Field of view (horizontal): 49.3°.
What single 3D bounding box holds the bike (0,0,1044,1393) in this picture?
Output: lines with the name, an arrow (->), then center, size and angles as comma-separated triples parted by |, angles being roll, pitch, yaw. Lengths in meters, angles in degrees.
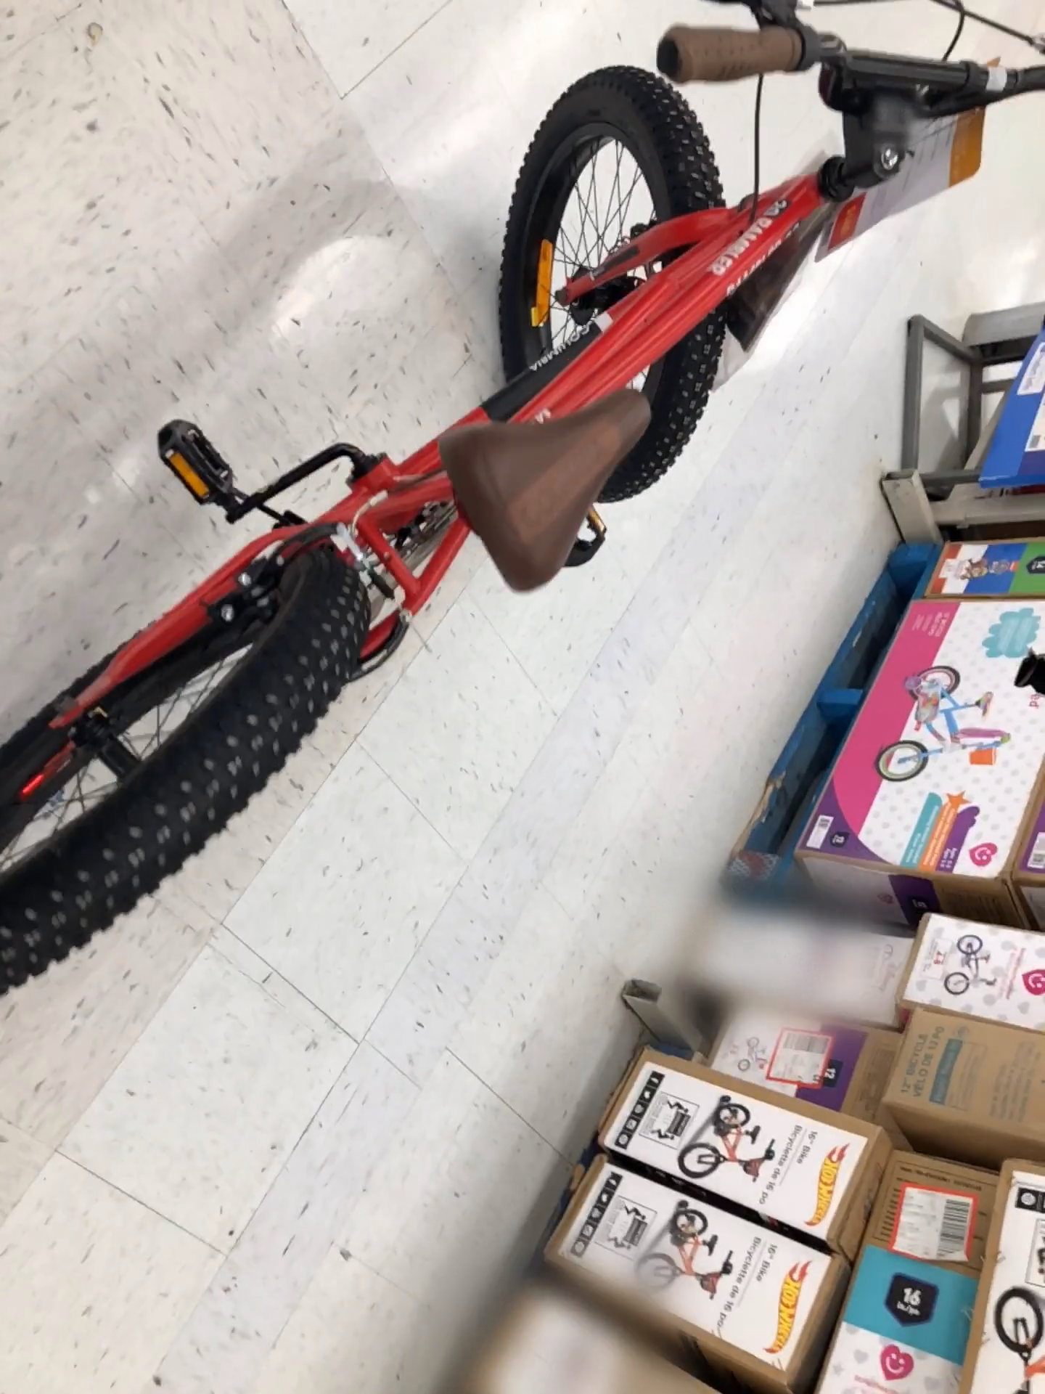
bike -> -0.071, -0.259, 1.140 | 0.609, 0.968, 1.361 | 54, 52, -34
